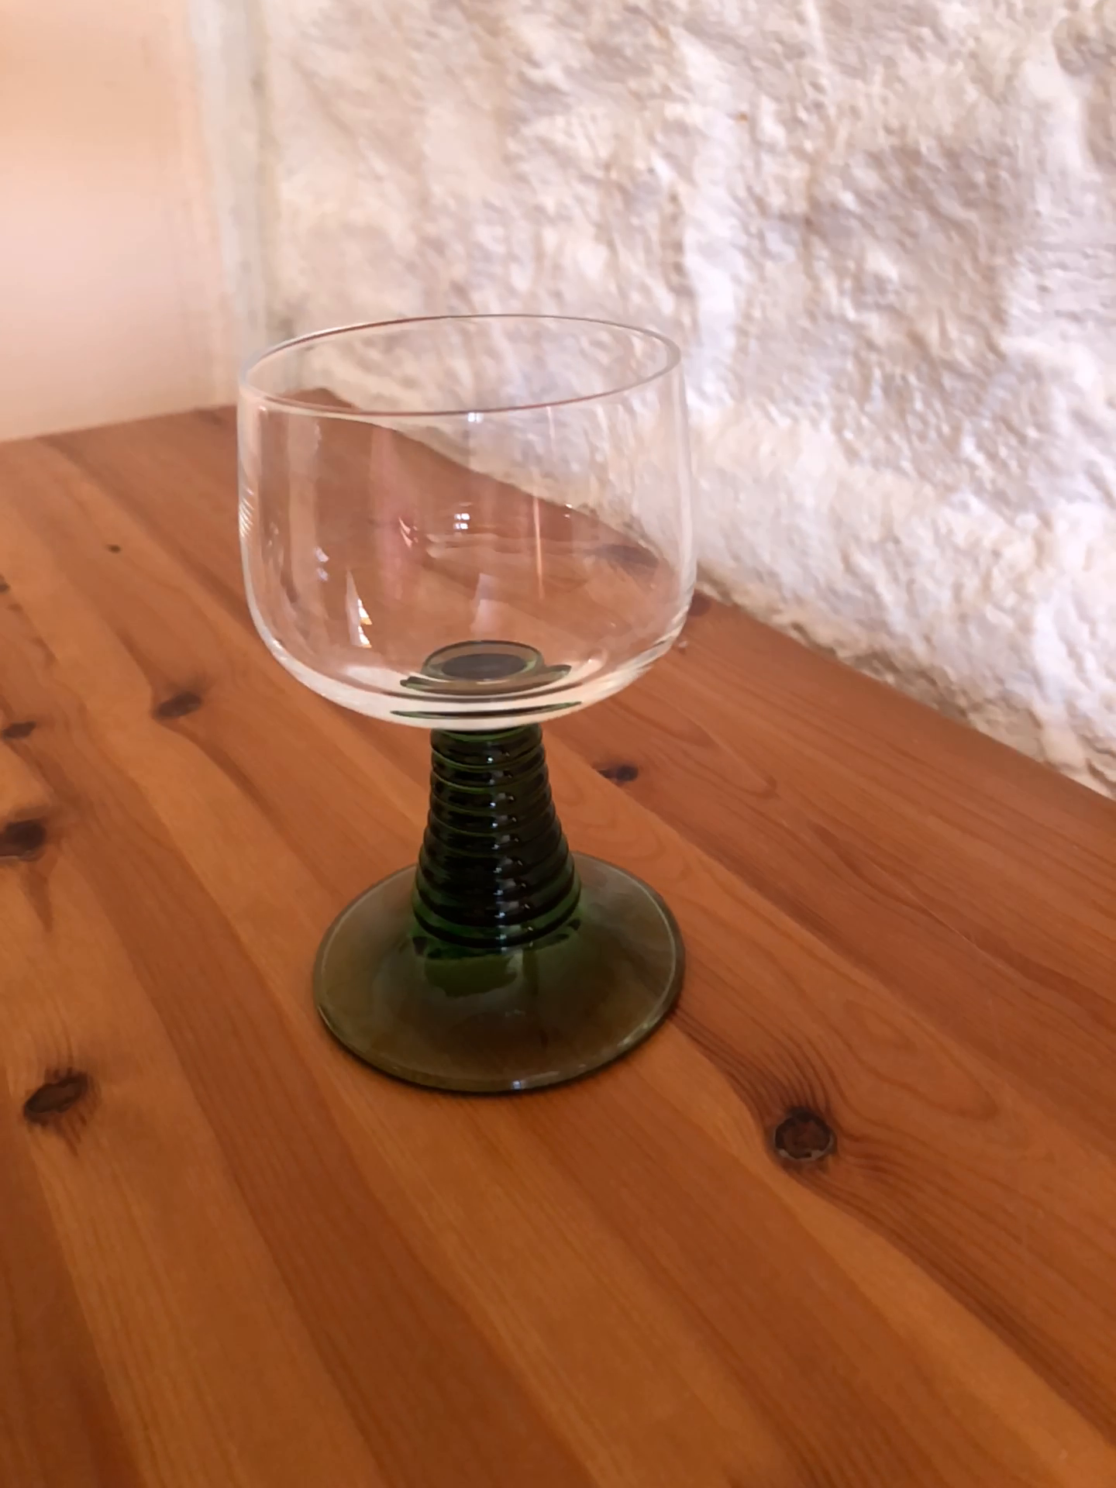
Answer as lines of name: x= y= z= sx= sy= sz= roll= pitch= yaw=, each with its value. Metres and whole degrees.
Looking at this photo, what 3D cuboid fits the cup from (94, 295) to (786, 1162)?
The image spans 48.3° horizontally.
cup: x=-0.008 y=-0.007 z=0.193 sx=0.074 sy=0.106 sz=0.074 roll=-1 pitch=29 yaw=1
